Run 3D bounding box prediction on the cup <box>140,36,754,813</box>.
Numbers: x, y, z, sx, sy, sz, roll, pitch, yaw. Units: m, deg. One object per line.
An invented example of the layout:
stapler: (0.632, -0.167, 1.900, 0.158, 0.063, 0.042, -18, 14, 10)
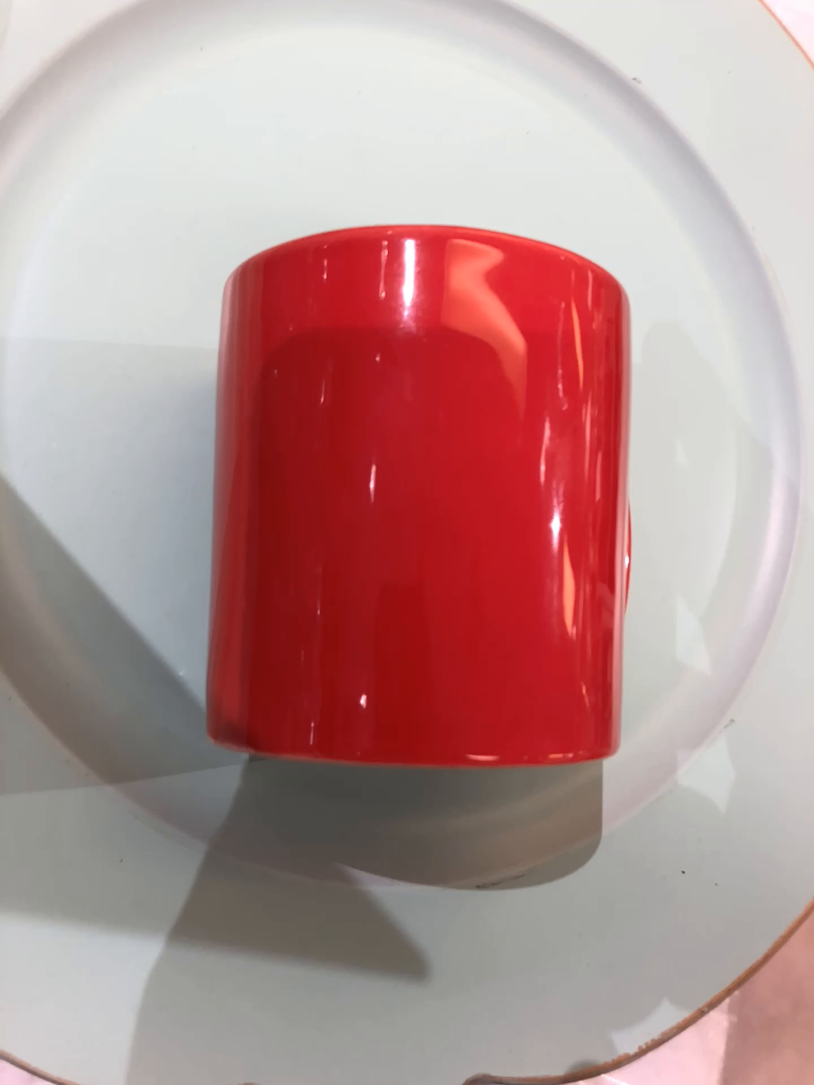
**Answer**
cup: (0.015, -0.010, 0.175, 0.110, 0.060, 0.100, 8, 79, -50)
